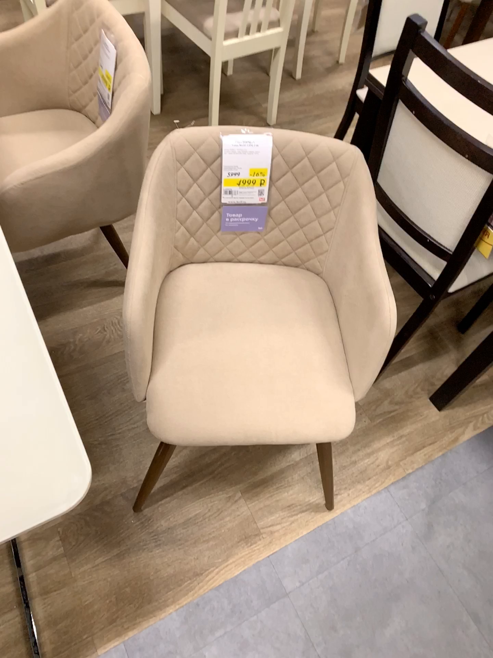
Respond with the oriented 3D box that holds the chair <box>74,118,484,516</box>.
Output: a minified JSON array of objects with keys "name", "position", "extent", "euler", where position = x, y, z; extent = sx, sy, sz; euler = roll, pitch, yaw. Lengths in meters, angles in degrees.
[{"name":"chair","position":[0.002,0.055,1.230],"extent":[0.600,0.837,0.572],"euler":[1,57,-7]}]
